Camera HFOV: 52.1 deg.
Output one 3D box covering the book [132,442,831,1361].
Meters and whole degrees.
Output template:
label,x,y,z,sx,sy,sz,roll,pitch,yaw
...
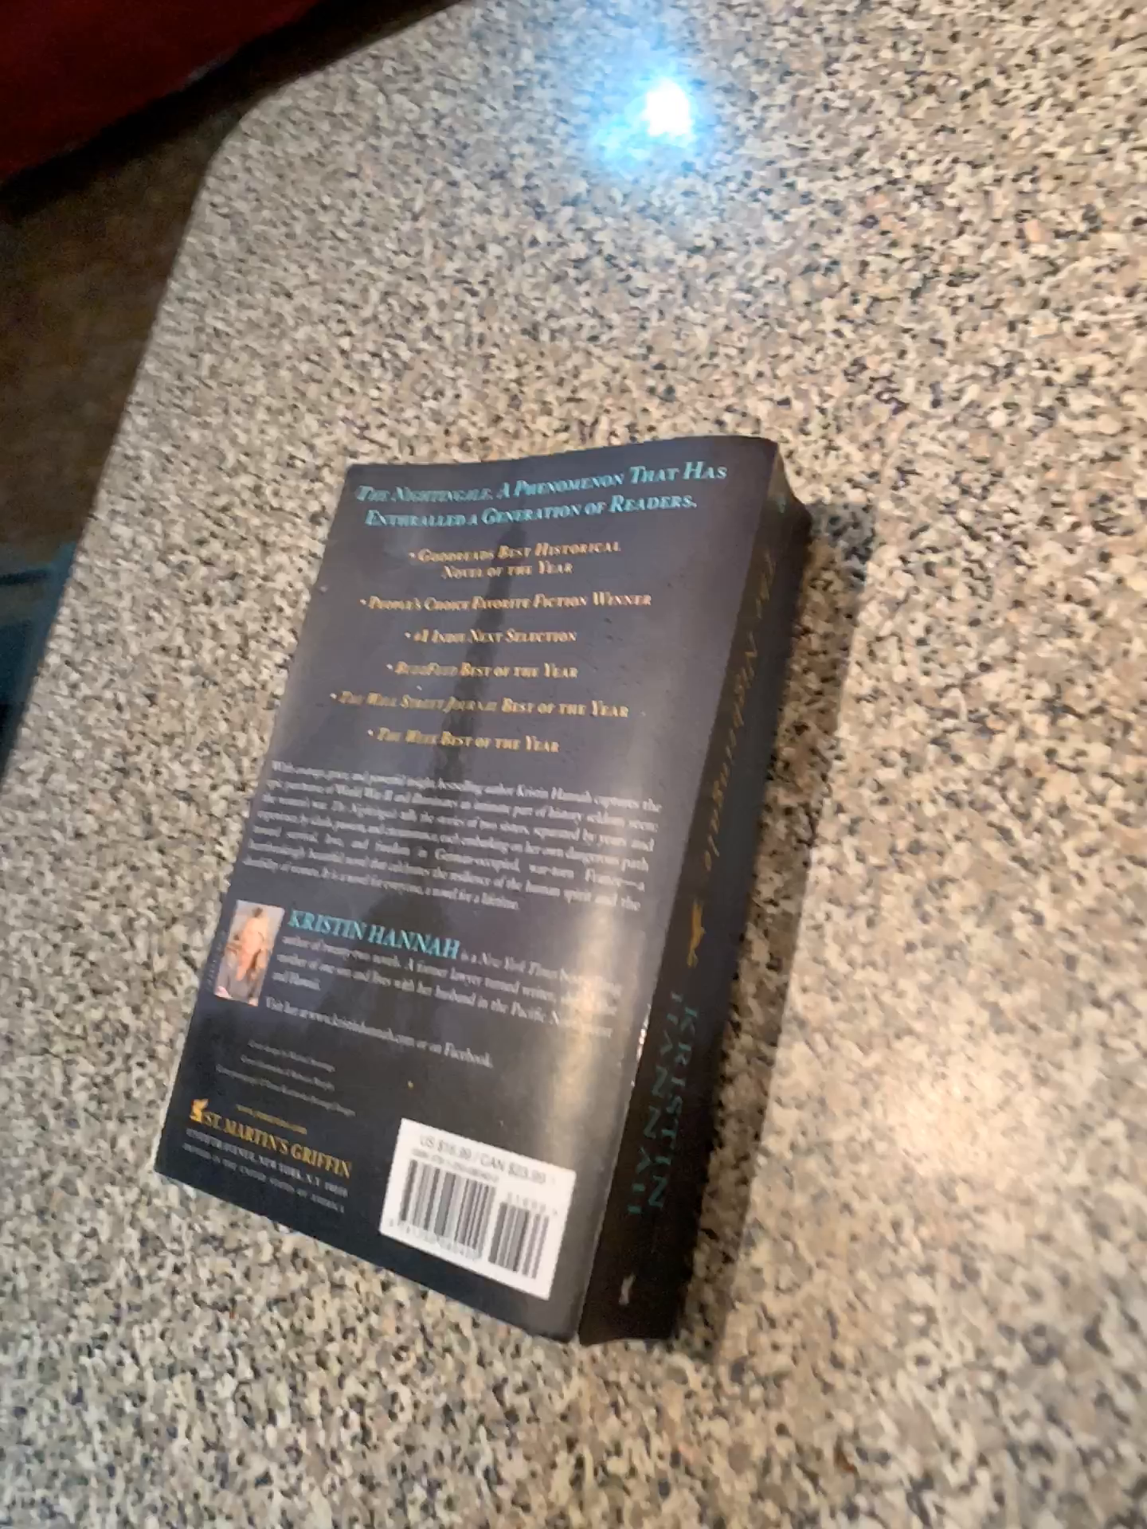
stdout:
label,x,y,z,sx,sy,sz,roll,pitch,yaw
book,-0.025,0.025,0.320,0.139,0.056,0.207,5,75,37
